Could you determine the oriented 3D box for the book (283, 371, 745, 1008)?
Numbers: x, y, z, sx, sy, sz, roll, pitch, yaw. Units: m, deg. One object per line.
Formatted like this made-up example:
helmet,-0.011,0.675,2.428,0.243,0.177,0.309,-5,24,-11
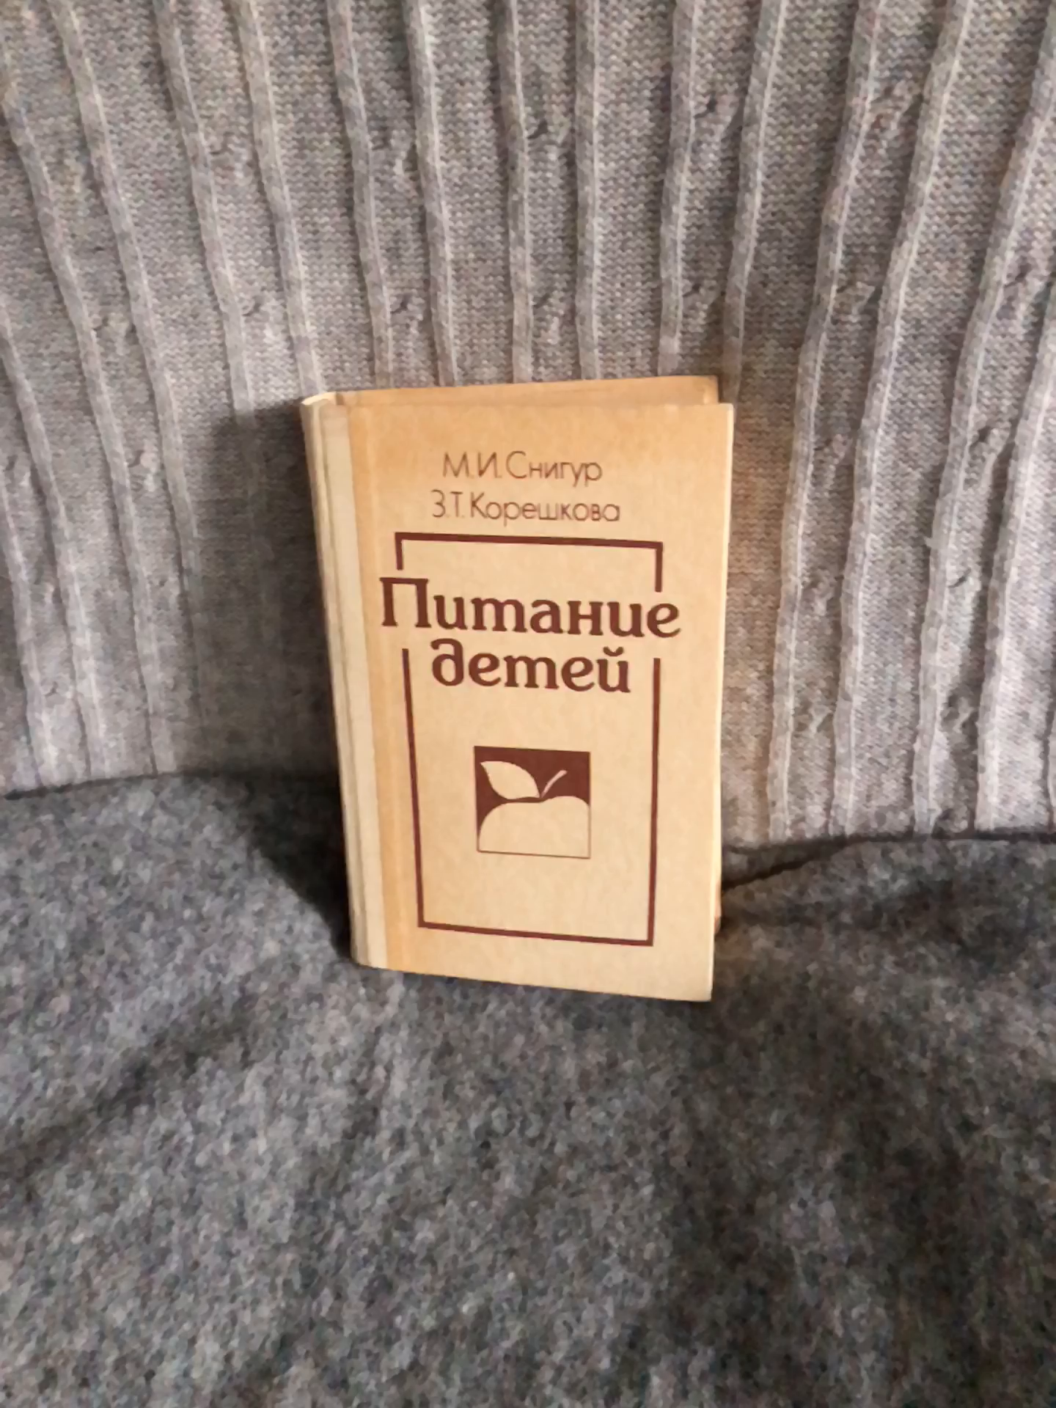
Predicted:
book,0.002,-0.001,0.402,0.139,0.212,0.042,1,21,9
